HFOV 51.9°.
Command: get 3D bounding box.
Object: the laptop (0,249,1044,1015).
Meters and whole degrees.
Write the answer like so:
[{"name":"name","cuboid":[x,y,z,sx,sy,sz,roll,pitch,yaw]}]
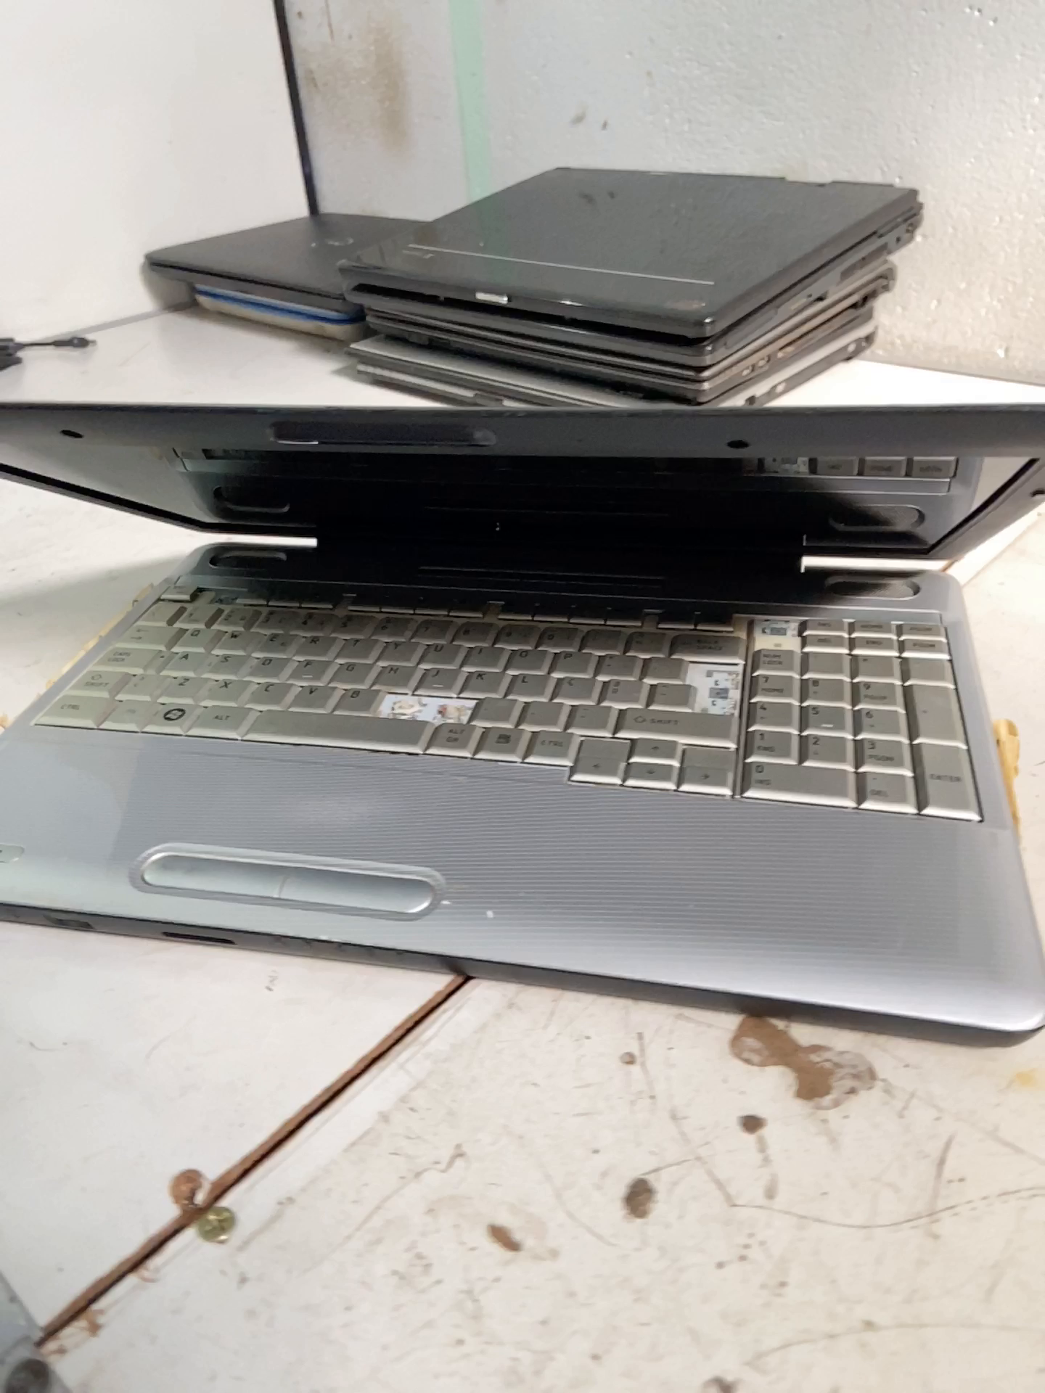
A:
[{"name":"laptop","cuboid":[-0.017,-0.057,0.397,0.371,0.143,0.257,4,35,12]}]
